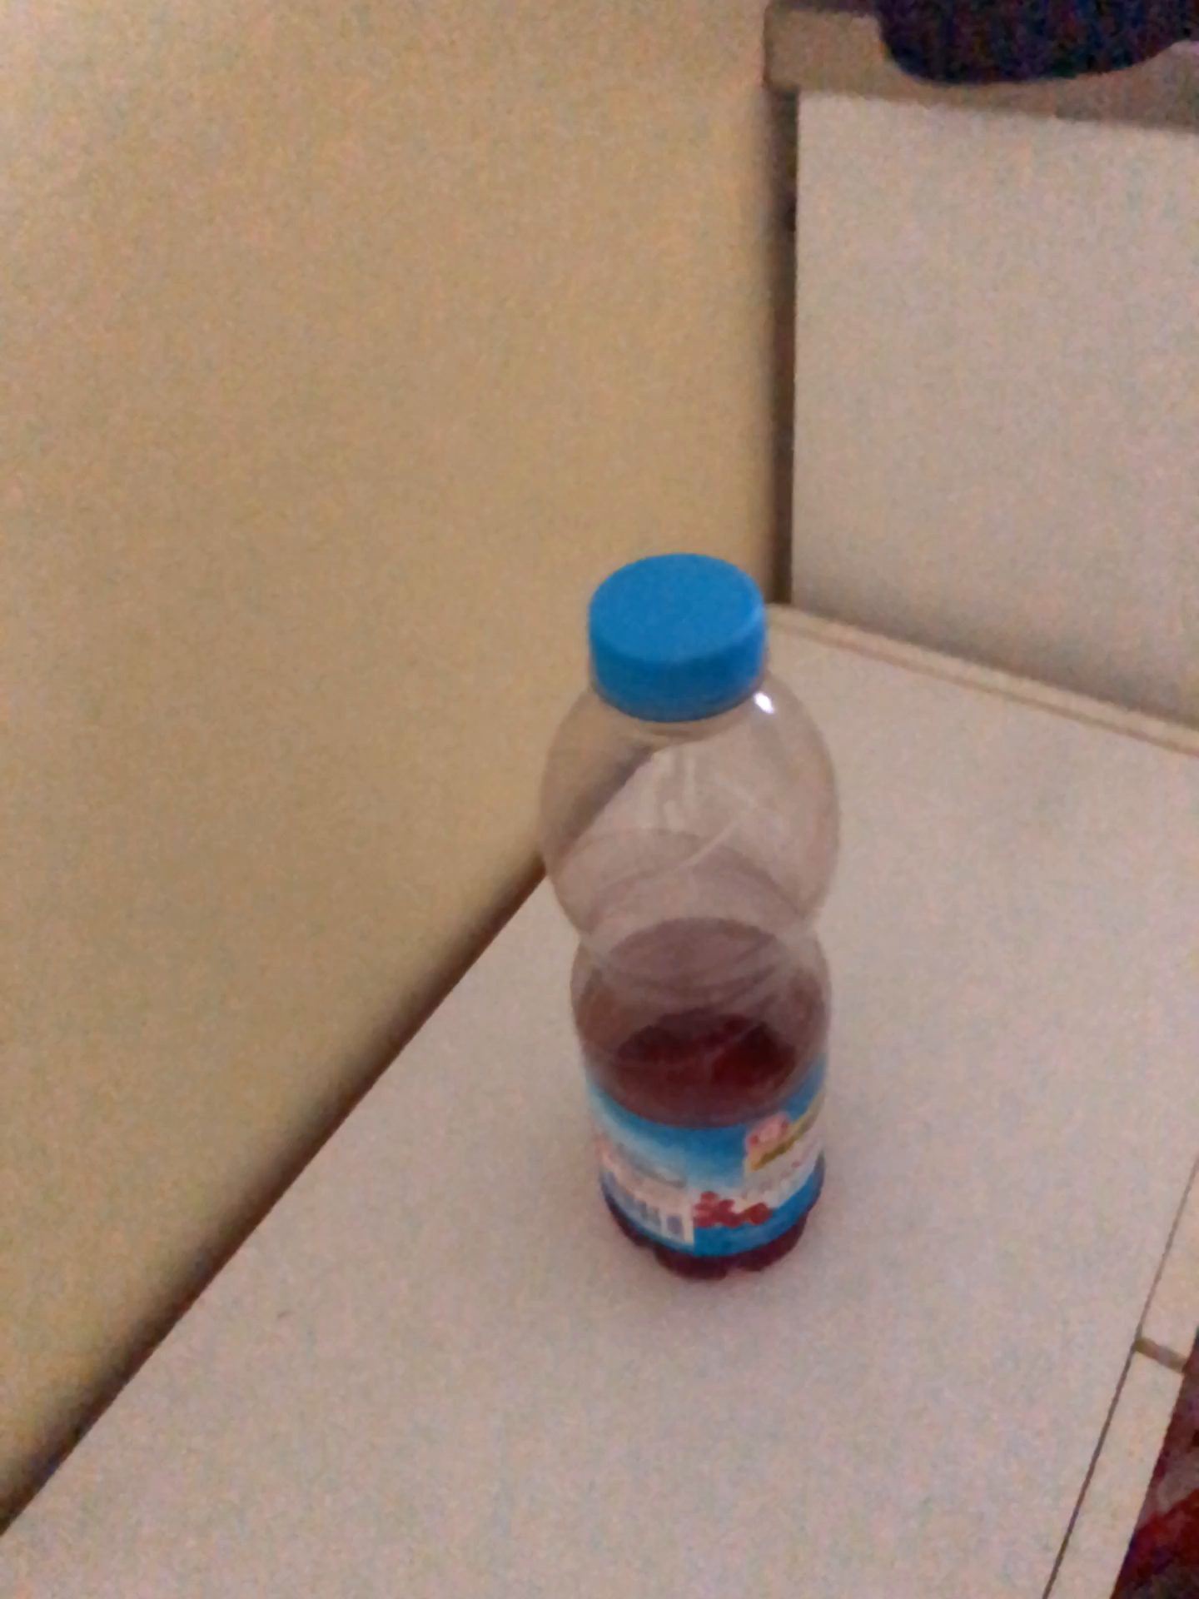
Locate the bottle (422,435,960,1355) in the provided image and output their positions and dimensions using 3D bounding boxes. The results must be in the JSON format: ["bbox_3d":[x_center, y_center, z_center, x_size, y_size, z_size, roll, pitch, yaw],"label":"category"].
[{"bbox_3d":[0.033,0.046,0.377,0.080,0.268,0.091,23,53,27],"label":"bottle"}]
